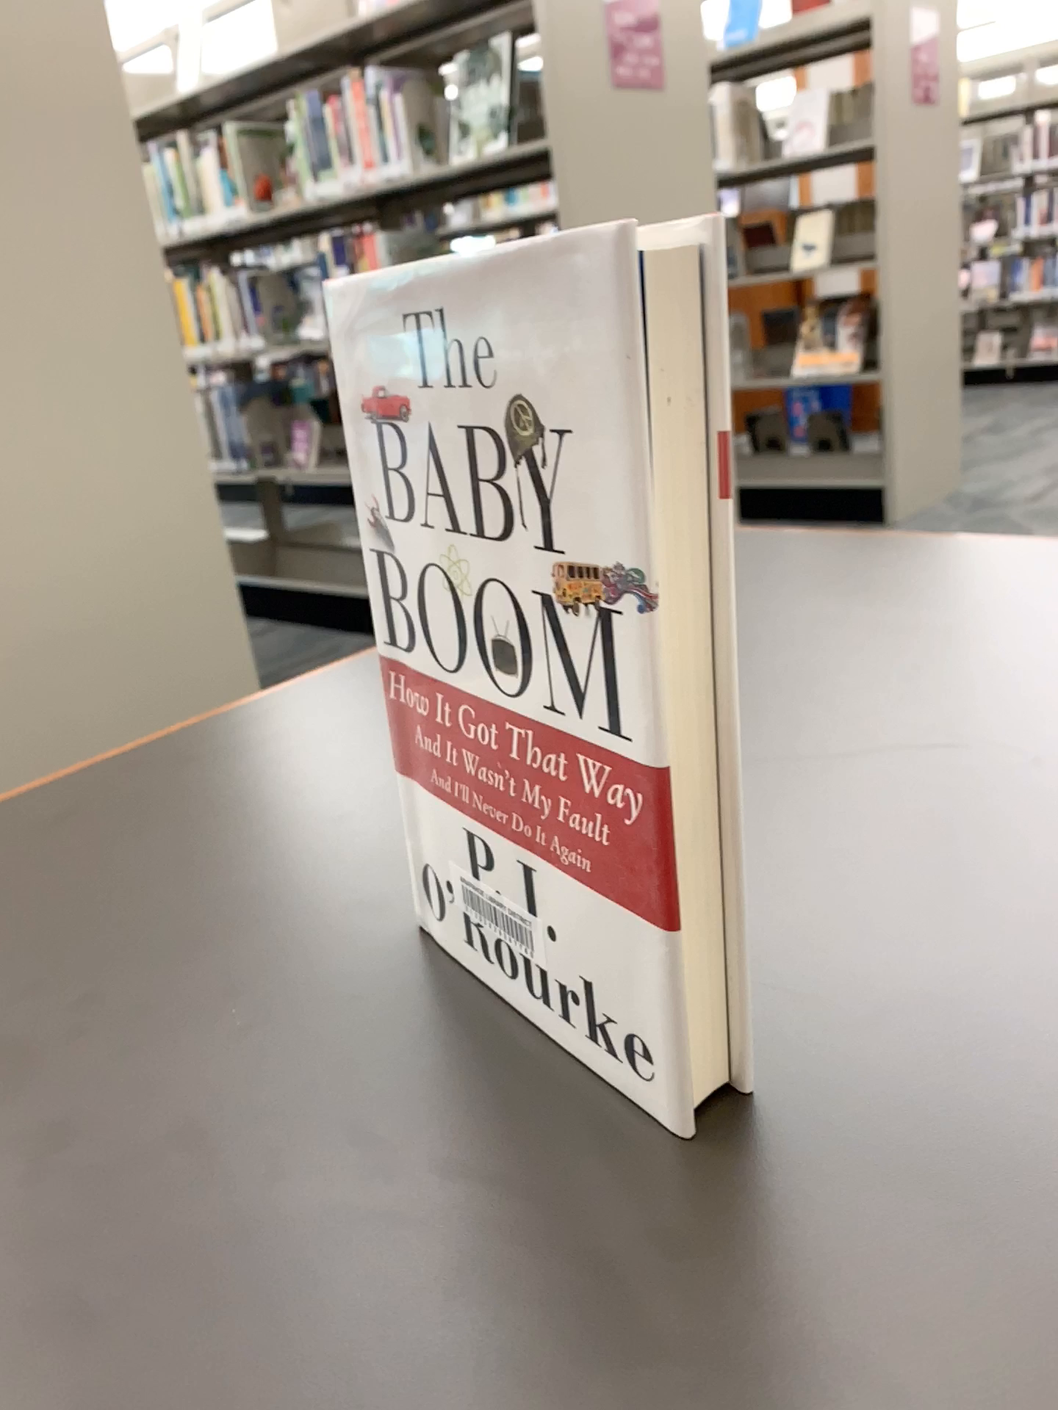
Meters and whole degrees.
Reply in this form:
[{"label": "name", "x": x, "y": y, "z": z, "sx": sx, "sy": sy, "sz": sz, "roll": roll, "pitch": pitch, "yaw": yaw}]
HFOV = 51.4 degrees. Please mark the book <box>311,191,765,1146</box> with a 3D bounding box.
[{"label": "book", "x": -0.002, "y": -0.014, "z": 0.327, "sx": 0.030, "sy": 0.231, "sz": 0.161, "roll": -16, "pitch": 21, "yaw": -31}]
